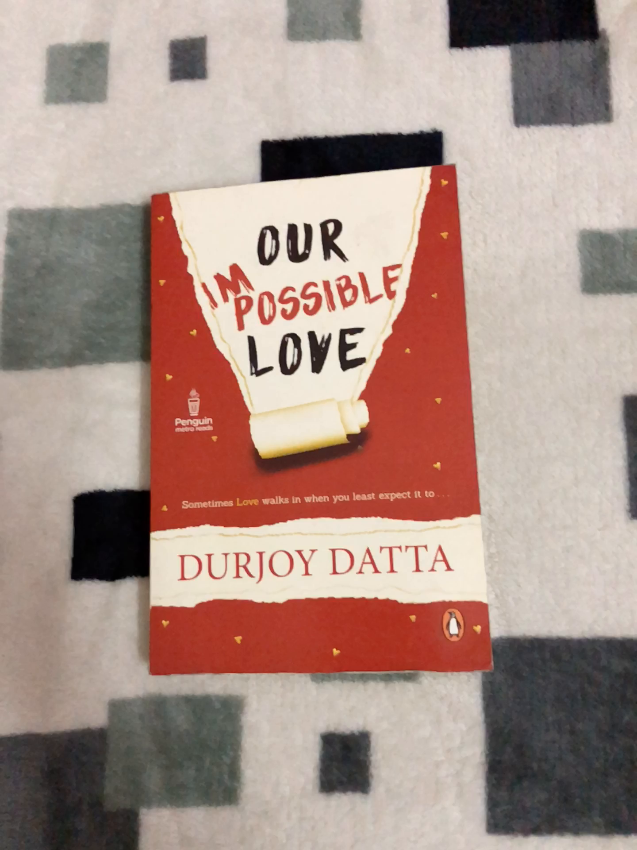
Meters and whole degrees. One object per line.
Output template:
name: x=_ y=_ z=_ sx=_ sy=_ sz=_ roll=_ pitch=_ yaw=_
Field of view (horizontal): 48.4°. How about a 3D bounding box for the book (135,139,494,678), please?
book: x=-0.005 y=-0.007 z=0.284 sx=0.130 sy=0.030 sz=0.200 roll=-3 pitch=83 yaw=6
